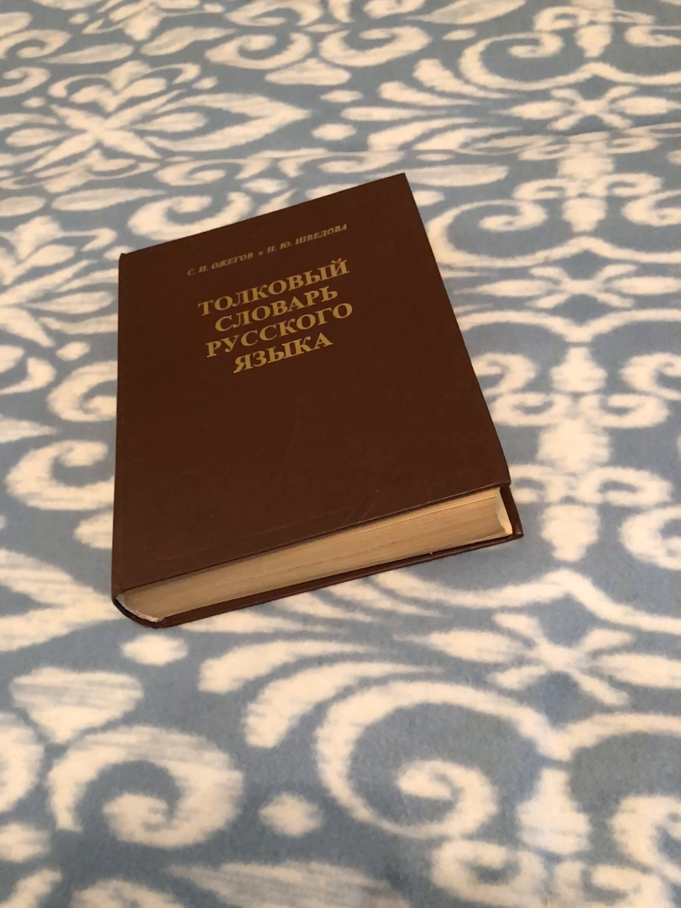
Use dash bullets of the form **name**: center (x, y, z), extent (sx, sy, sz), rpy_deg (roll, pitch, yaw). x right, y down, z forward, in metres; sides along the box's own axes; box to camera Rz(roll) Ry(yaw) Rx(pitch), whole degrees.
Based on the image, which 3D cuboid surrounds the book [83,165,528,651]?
- **book**: center (-0.033, -0.042, 0.466), extent (0.220, 0.067, 0.271), rpy_deg (-14, 54, 6)
